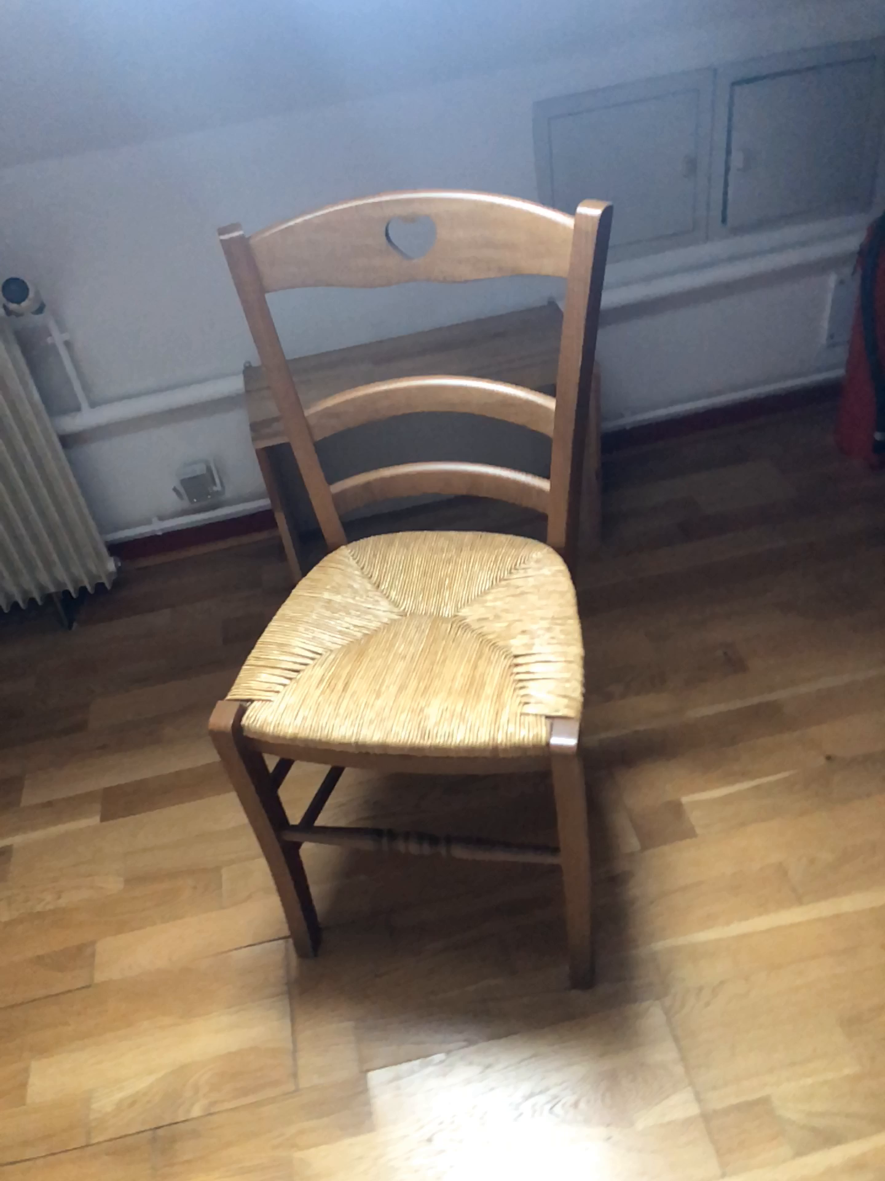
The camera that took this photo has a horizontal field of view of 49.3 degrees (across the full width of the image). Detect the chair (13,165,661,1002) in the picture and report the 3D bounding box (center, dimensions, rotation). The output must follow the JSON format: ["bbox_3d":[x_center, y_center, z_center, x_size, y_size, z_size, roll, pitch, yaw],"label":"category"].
[{"bbox_3d":[-0.004,0.027,1.067,0.458,0.793,0.436,1,41,12],"label":"chair"}]
